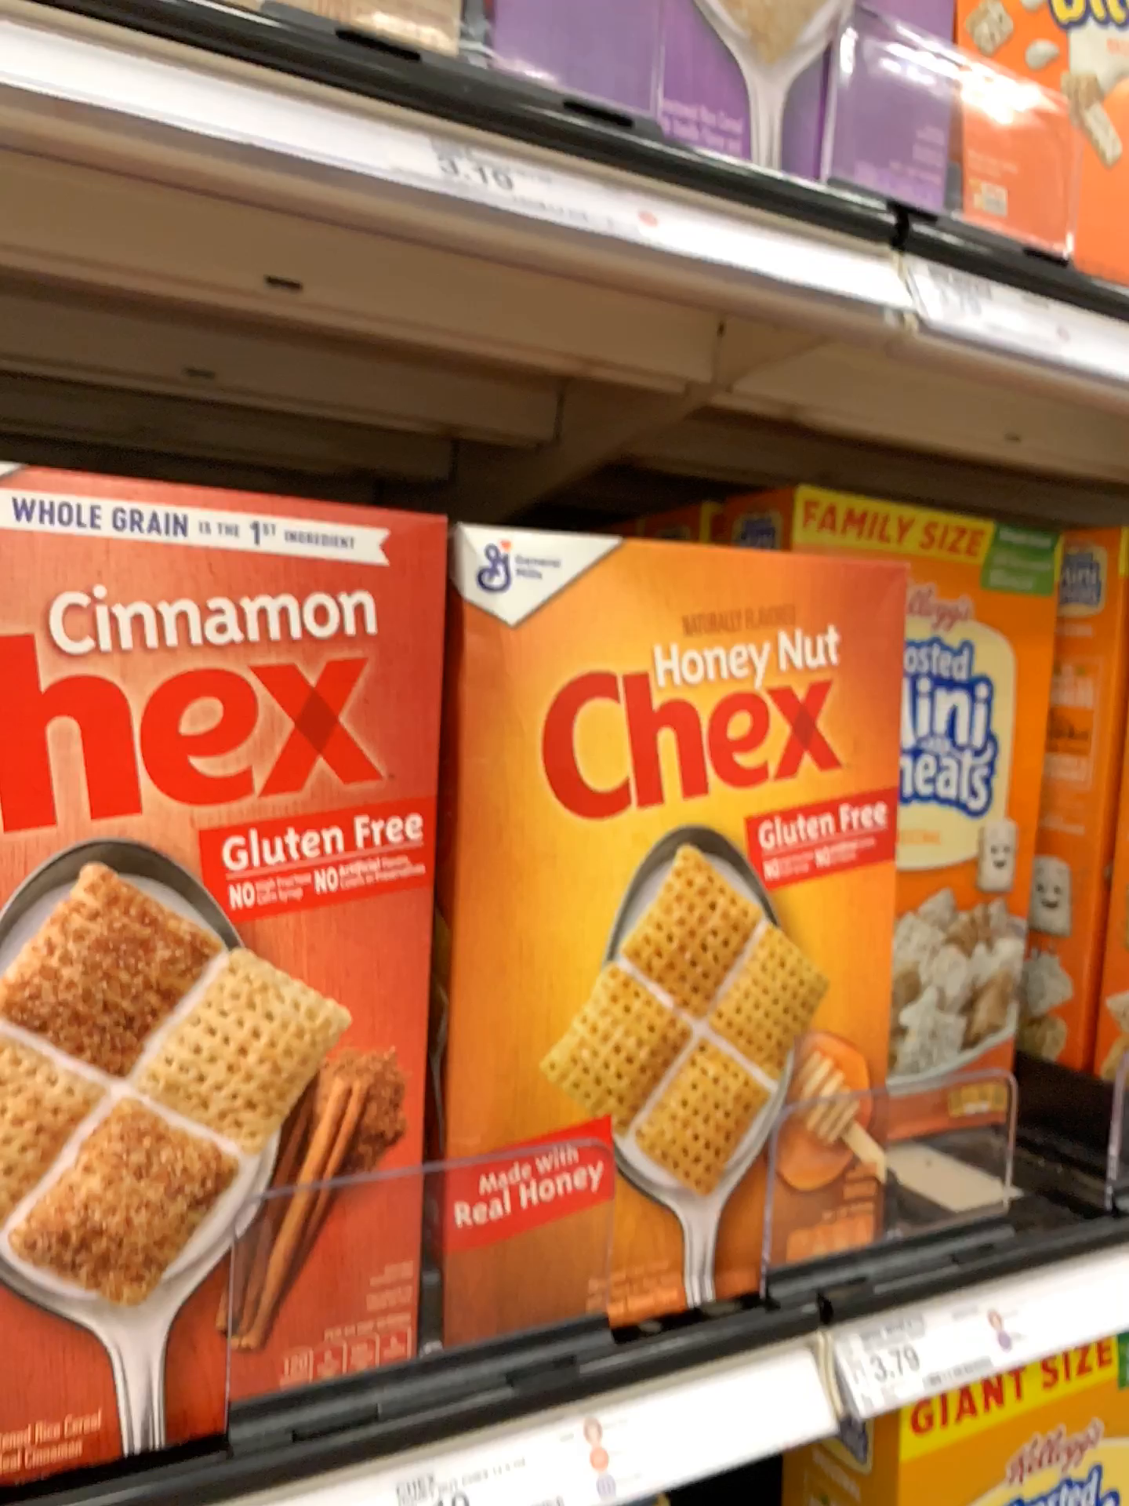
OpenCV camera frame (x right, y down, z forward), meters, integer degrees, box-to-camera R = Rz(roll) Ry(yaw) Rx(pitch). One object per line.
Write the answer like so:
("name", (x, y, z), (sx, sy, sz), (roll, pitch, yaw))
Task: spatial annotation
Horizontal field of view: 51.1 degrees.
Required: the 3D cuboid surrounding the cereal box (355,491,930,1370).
("cereal box", (0.033, 0.058, 0.447), (0.200, 0.280, 0.060), (1, 4, -30))
